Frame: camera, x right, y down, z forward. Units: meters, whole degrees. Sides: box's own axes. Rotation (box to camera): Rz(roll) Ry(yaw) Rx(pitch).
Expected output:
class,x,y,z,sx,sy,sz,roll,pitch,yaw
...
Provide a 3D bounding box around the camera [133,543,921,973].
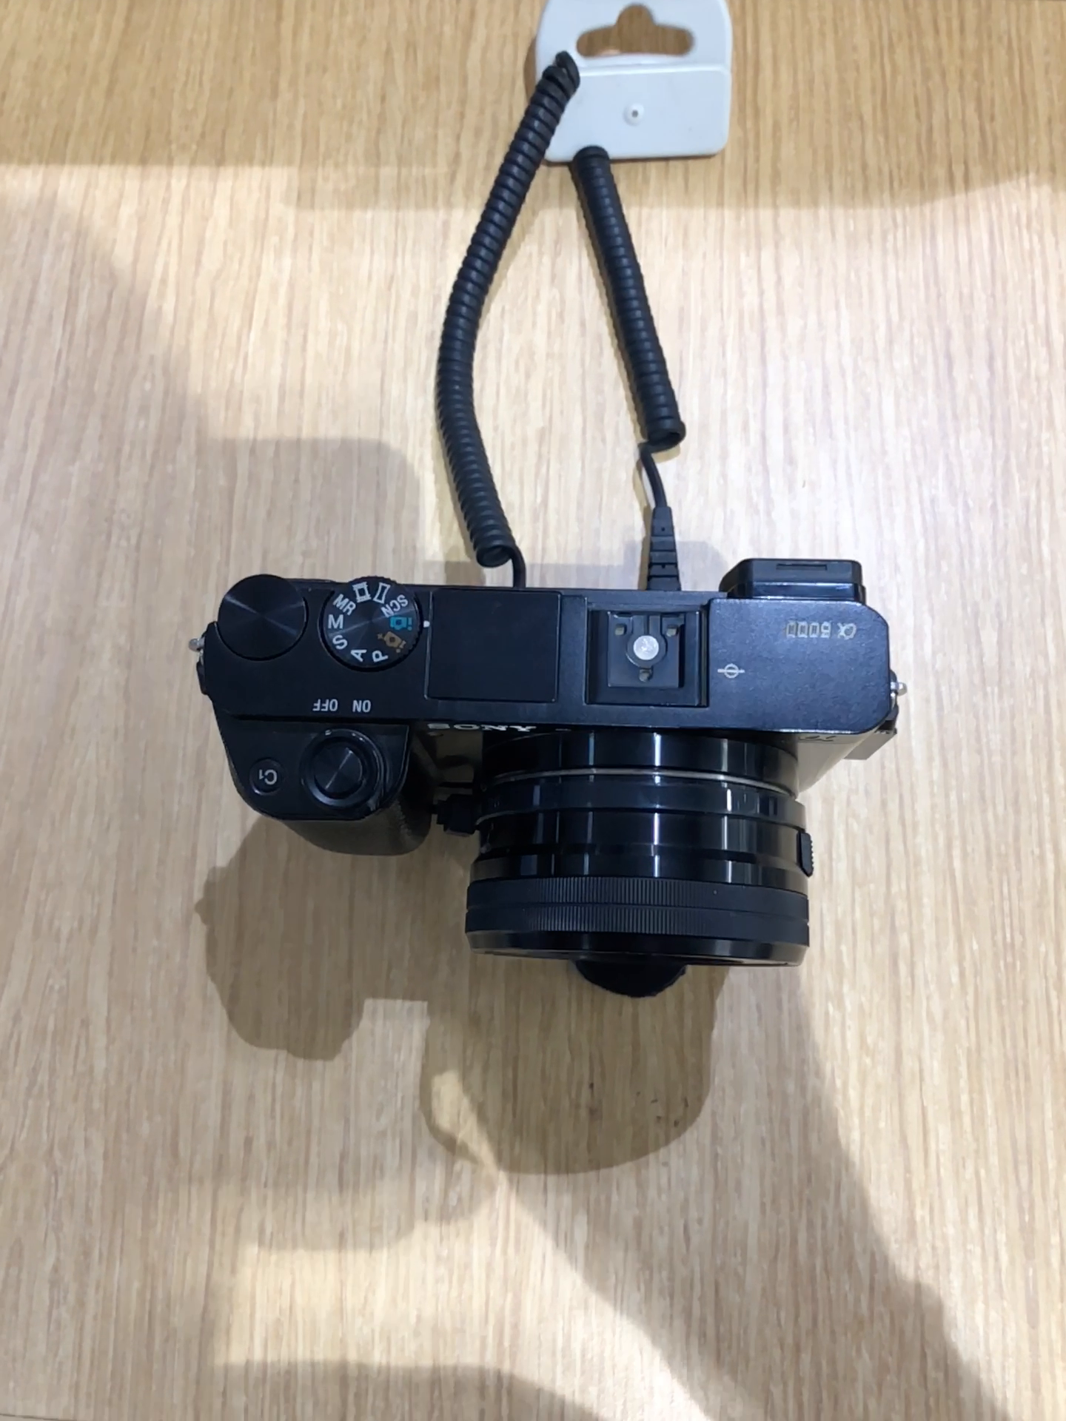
class,x,y,z,sx,sy,sz,roll,pitch,yaw
camera,0.000,0.012,0.203,0.107,0.070,0.059,0,75,2
